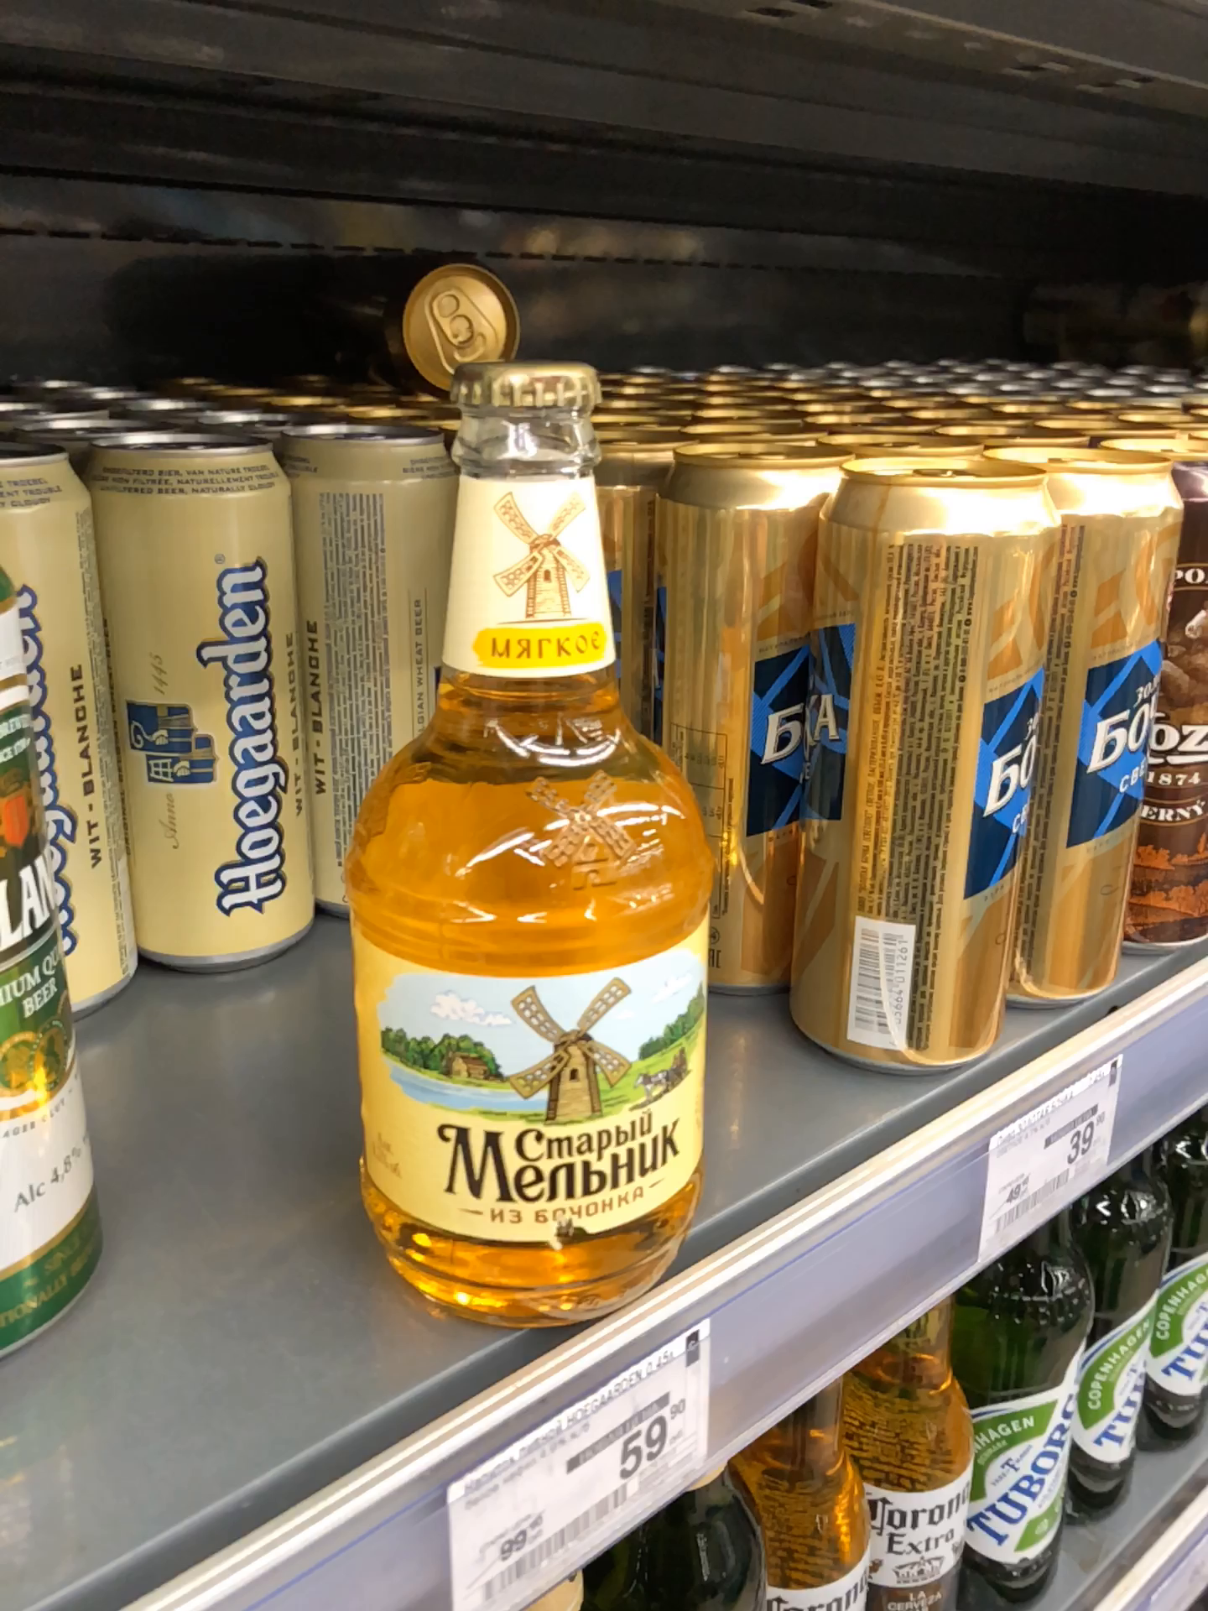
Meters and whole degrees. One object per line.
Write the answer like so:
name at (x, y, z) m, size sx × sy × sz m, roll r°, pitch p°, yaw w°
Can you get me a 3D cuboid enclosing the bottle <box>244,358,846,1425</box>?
bottle at (-0.017, 0.011, 0.275) m, size 0.090 × 0.193 × 0.080 m, roll -6°, pitch 21°, yaw -19°
